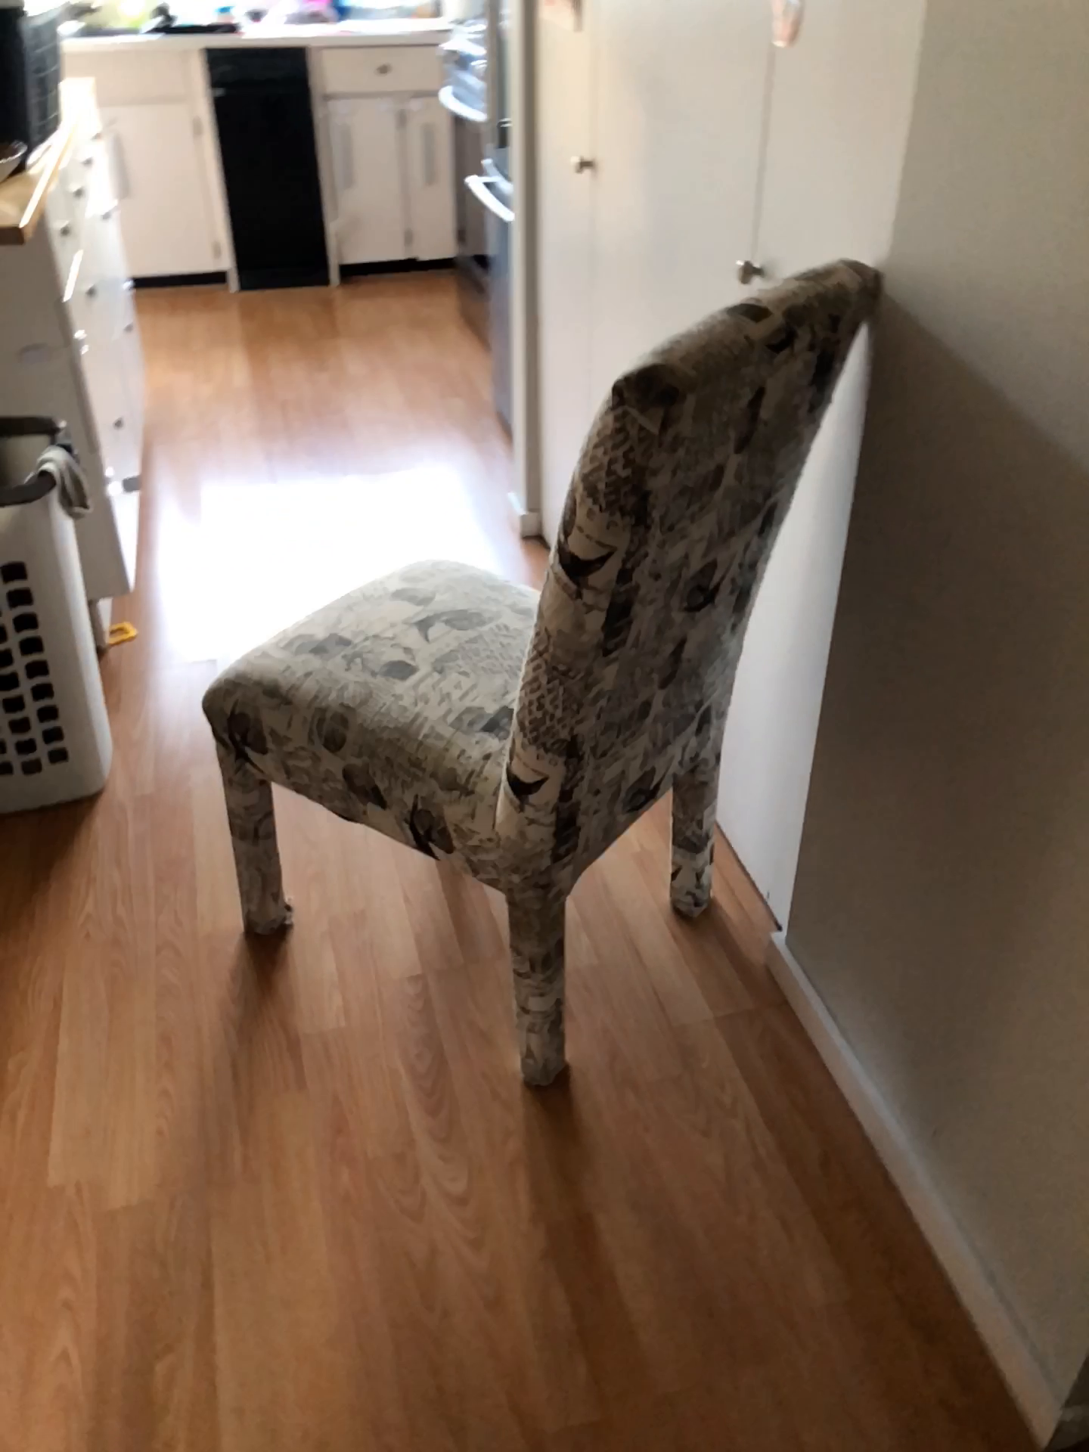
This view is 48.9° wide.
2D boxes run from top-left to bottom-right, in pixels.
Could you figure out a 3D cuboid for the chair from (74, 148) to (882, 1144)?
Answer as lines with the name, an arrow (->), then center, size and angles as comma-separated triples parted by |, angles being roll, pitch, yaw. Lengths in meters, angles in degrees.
chair -> -0.065, -0.127, 1.539 | 0.672, 0.996, 0.521 | 22, 41, 30
